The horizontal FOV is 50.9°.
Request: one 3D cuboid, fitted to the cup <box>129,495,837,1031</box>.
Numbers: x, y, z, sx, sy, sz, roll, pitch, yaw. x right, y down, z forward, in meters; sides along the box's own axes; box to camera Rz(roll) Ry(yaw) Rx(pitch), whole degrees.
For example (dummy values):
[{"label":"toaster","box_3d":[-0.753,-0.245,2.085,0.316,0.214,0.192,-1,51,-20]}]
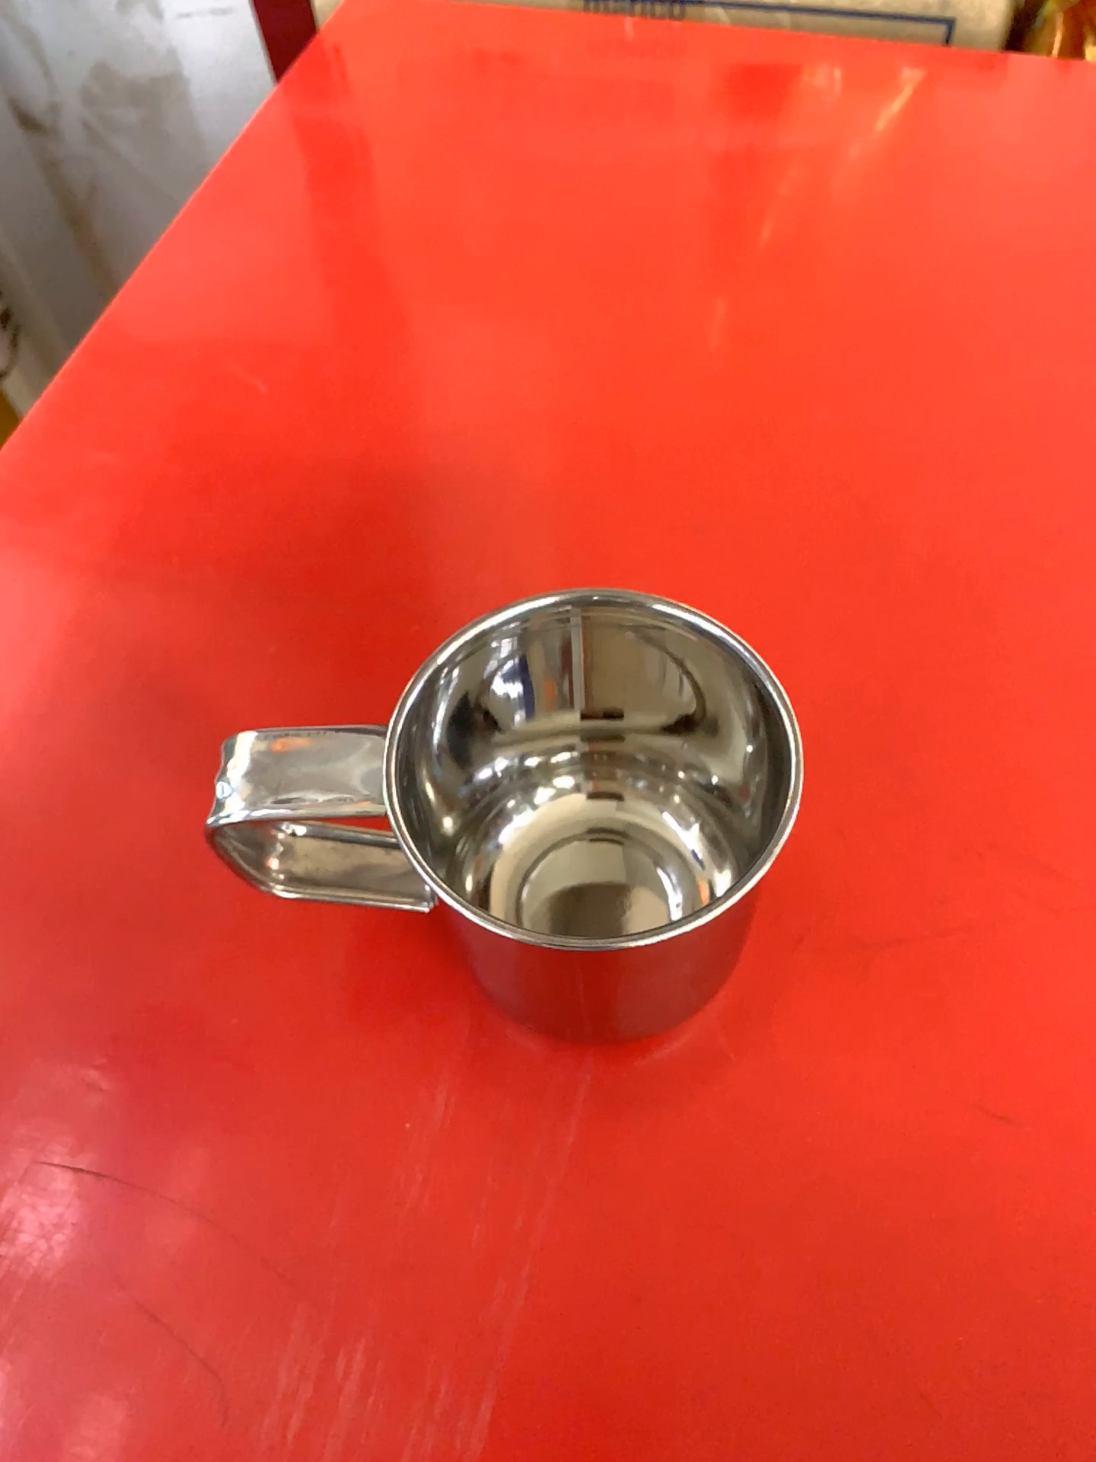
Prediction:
[{"label":"cup","box_3d":[-0.007,0.007,0.224,0.109,0.065,0.080,2,60,5]}]
